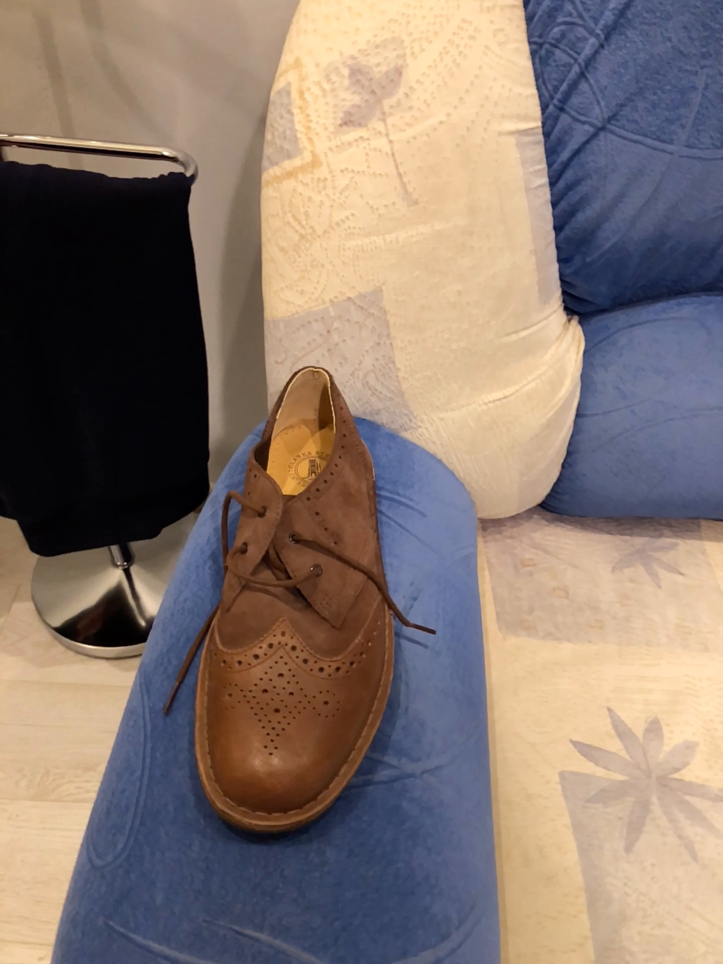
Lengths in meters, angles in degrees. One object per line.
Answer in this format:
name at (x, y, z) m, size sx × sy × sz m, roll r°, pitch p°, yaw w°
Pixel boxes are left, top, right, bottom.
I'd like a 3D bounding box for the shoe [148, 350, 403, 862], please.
shoe at (-0.034, 0.054, 0.495) m, size 0.113 × 0.089 × 0.315 m, roll 3°, pitch 48°, yaw 1°
